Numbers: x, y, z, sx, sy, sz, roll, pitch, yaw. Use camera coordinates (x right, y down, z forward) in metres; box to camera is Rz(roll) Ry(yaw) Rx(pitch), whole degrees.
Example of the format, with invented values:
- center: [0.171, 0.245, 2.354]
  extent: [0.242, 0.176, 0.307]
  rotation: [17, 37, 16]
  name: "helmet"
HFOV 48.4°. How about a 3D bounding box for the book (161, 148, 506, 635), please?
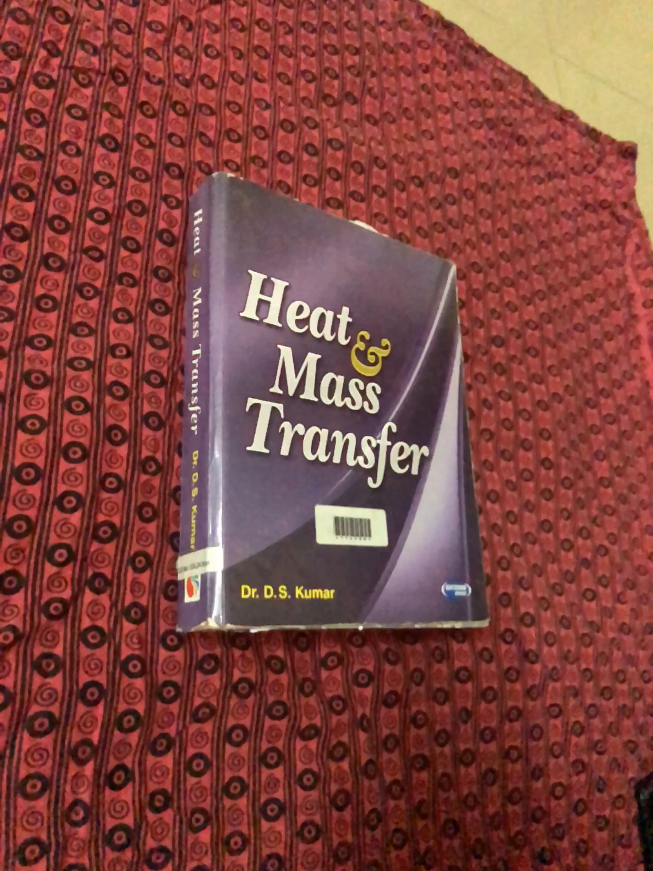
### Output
- center: [0.009, -0.011, 0.365]
  extent: [0.171, 0.040, 0.211]
  rotation: [10, 70, -36]
  name: "book"
